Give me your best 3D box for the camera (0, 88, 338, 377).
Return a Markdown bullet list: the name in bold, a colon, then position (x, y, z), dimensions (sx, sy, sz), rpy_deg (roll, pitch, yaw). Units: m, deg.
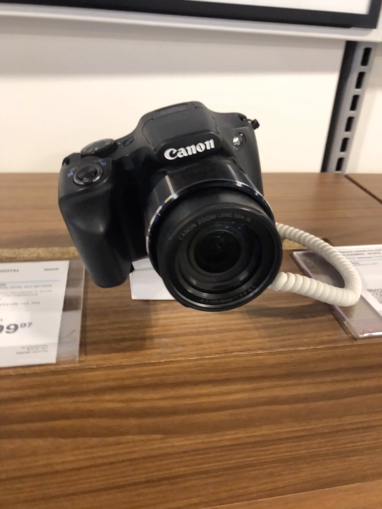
- **camera**: position (-0.016, -0.028, 0.234), dimensions (0.130, 0.070, 0.141), rpy_deg (-17, 32, -6)
